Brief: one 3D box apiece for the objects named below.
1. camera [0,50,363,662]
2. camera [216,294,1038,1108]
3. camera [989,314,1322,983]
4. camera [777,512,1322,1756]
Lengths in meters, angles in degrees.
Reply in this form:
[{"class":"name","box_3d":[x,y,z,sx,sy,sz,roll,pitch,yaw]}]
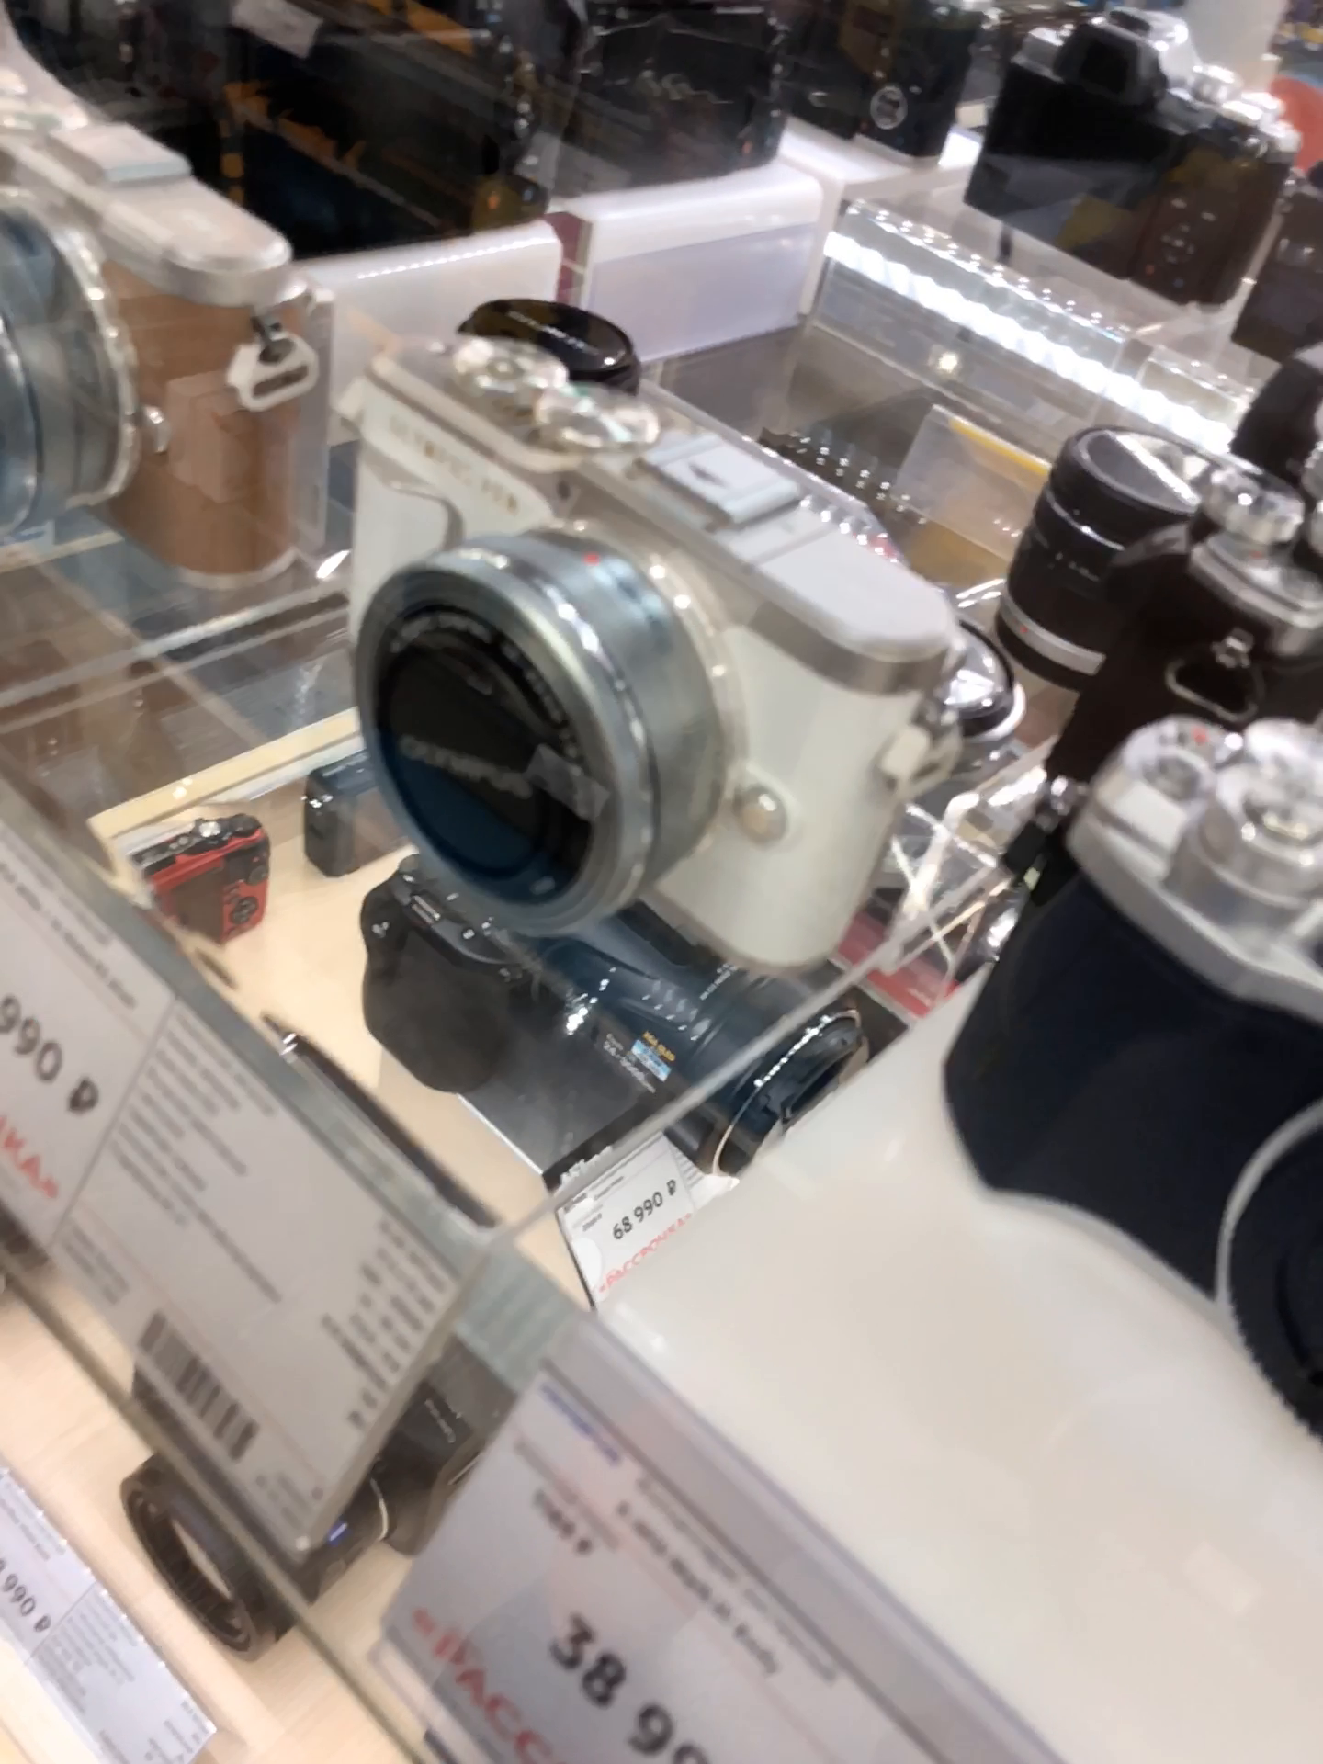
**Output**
[{"class":"camera","box_3d":[-0.111,-0.102,0.273,0.087,0.072,0.061,35,45,22]},{"class":"camera","box_3d":[-0.013,-0.034,0.232,0.114,0.070,0.053,36,45,23]},{"class":"camera","box_3d":[0.133,-0.052,0.280,0.072,0.072,0.115,36,45,23]},{"class":"camera","box_3d":[0.082,0.022,0.165,0.114,0.072,0.053,36,45,23]}]
